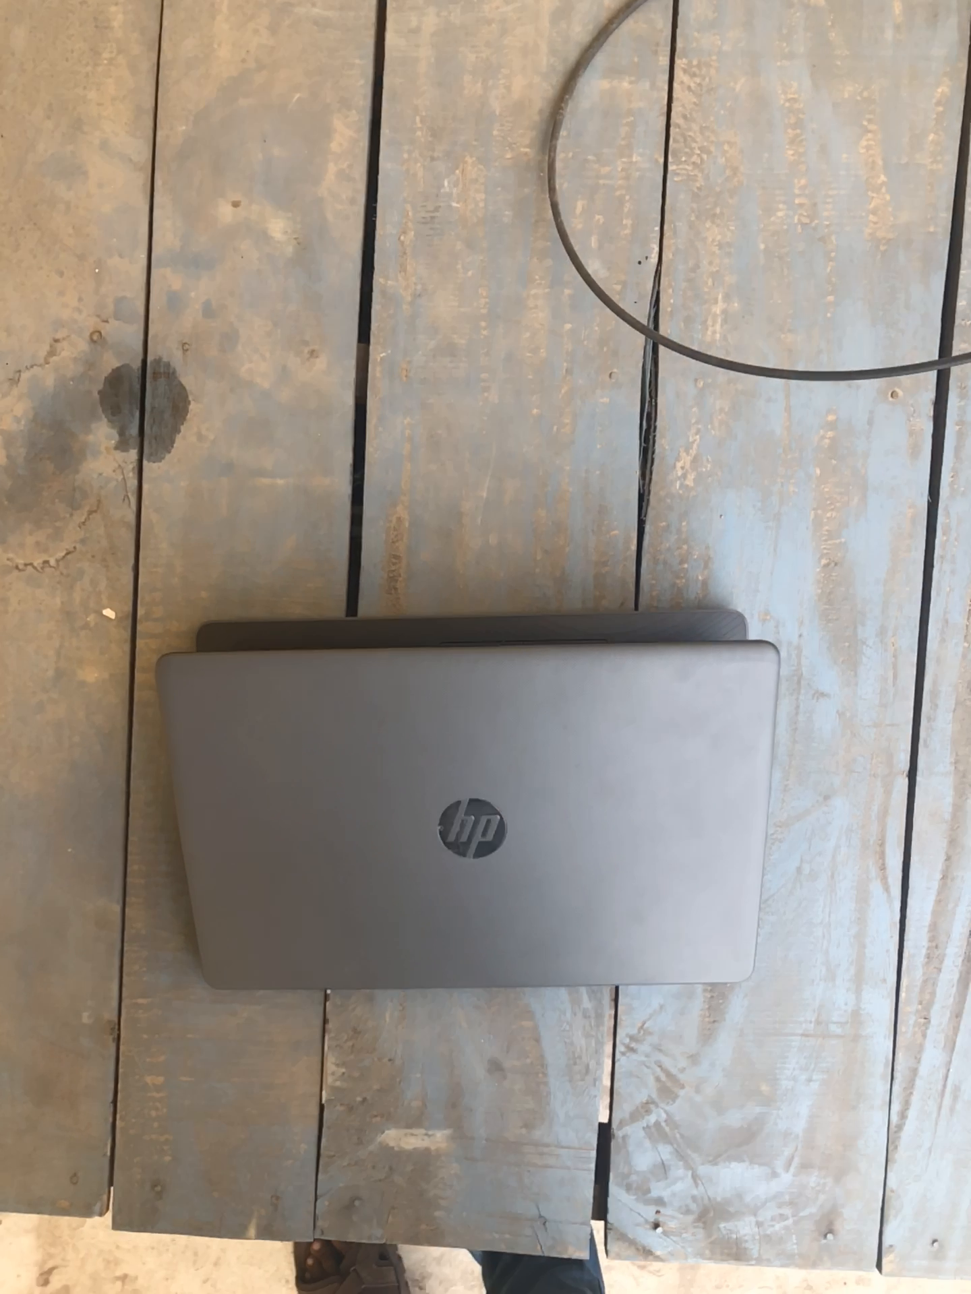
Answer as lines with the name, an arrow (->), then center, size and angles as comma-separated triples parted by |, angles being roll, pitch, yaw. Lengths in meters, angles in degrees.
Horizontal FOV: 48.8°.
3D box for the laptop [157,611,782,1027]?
laptop -> -0.008, 0.101, 0.674 | 0.361, 0.097, 0.243 | -1, 92, 1
